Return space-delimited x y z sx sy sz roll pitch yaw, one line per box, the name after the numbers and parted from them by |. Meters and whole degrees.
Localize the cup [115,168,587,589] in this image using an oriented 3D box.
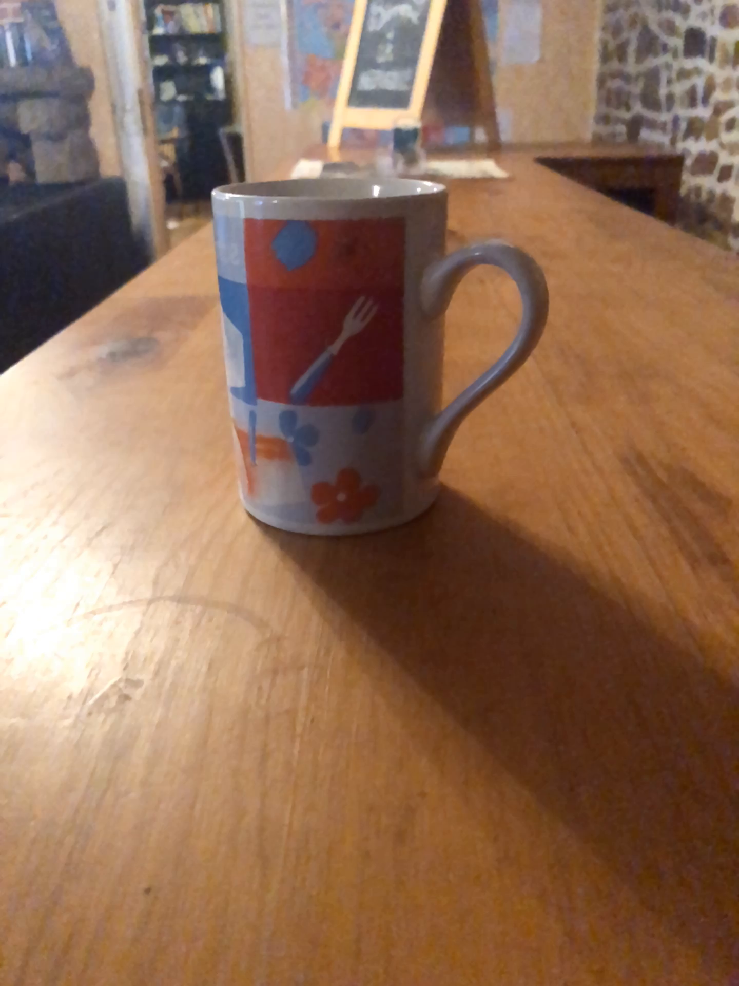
-0.003 -0.045 0.259 0.112 0.099 0.080 13 29 28 | cup
